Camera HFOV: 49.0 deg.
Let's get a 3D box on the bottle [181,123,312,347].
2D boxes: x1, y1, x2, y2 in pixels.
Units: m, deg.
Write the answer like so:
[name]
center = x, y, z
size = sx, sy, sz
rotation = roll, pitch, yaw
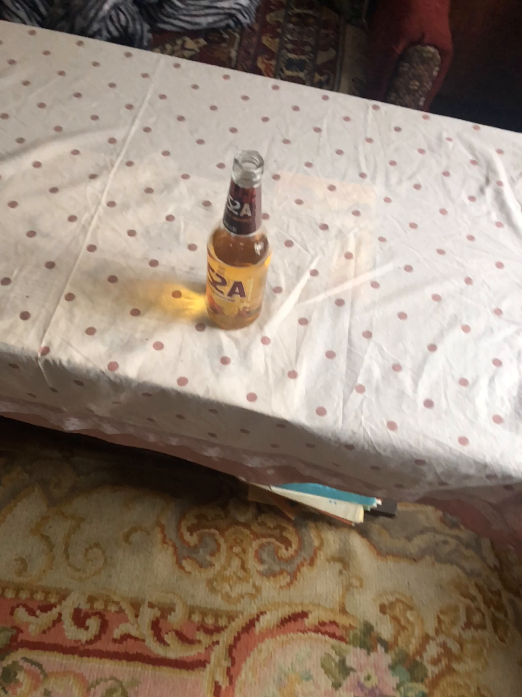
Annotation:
[bottle]
center = -0.022, -0.103, 0.581
size = 0.080, 0.209, 0.080
rotation = 3, 60, -5
